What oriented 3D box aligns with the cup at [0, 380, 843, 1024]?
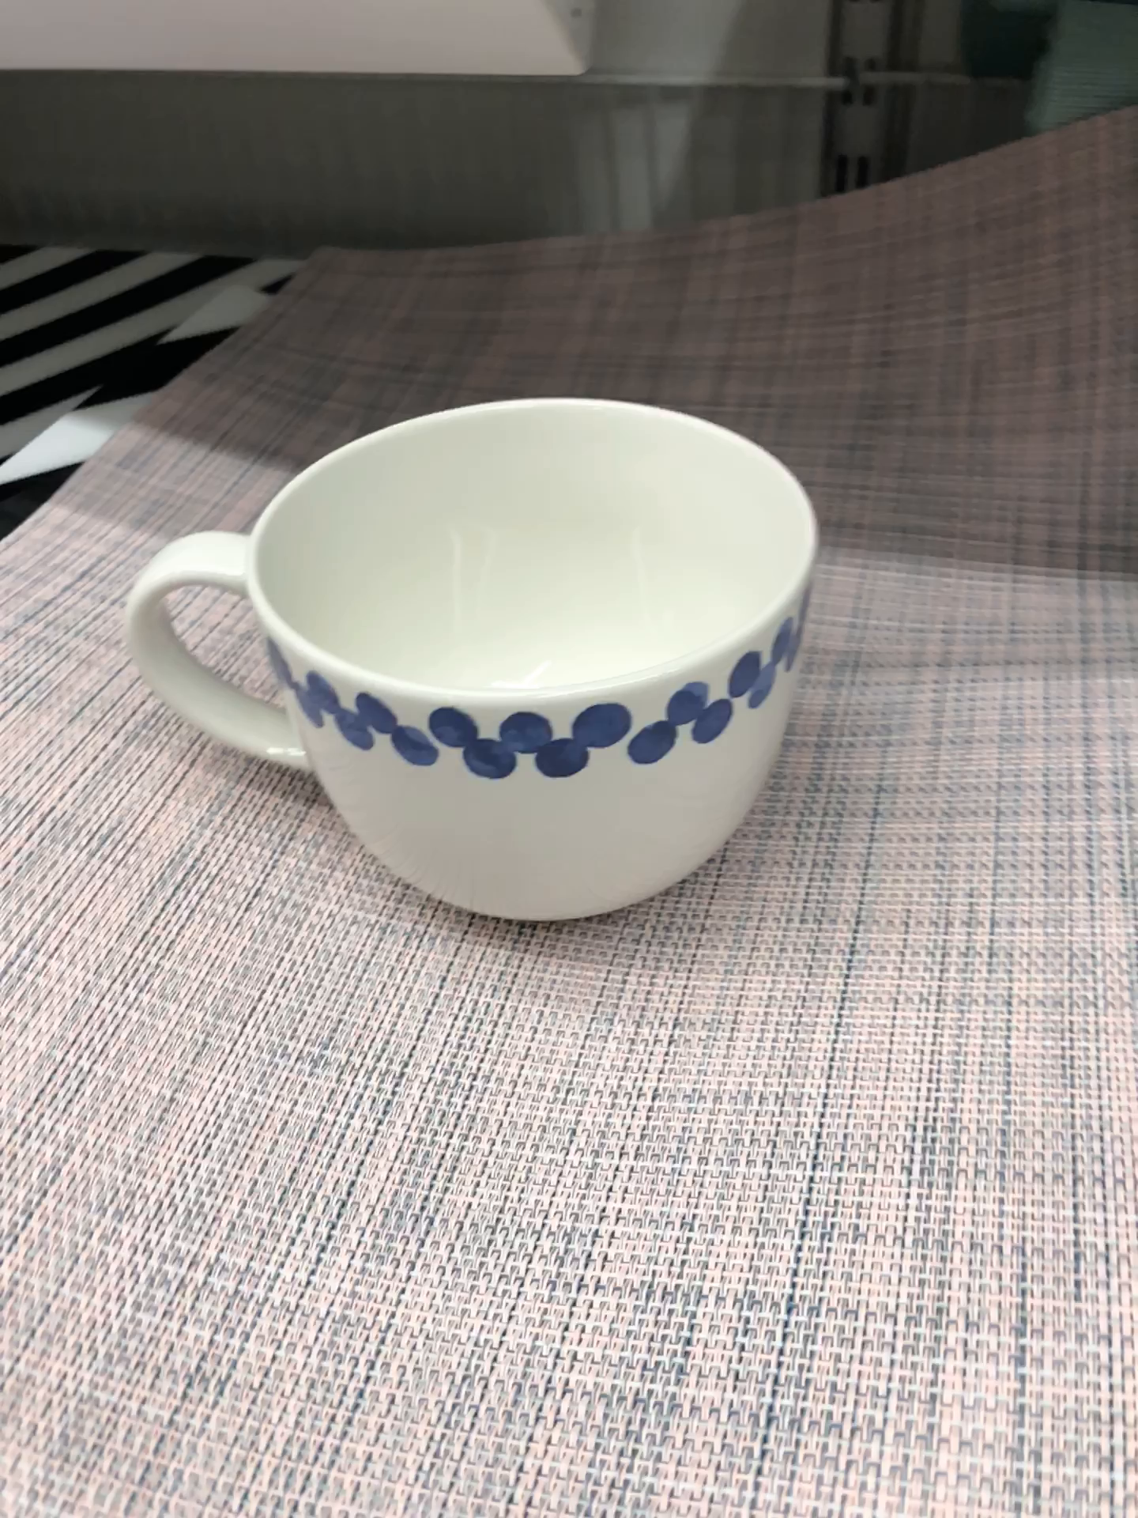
[{"bbox_3d":[-0.027,-0.020,0.244,0.150,0.060,0.110,4,41,10],"label":"cup"}]
